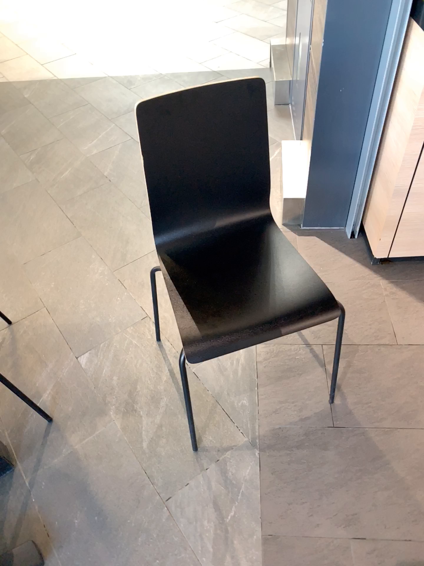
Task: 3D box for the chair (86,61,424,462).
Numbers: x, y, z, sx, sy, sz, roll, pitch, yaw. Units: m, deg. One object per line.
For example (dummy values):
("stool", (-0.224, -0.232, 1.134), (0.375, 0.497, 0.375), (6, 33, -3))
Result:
("chair", (0.068, -0.012, 1.151), (0.520, 0.837, 0.522), (-15, 49, -9))
